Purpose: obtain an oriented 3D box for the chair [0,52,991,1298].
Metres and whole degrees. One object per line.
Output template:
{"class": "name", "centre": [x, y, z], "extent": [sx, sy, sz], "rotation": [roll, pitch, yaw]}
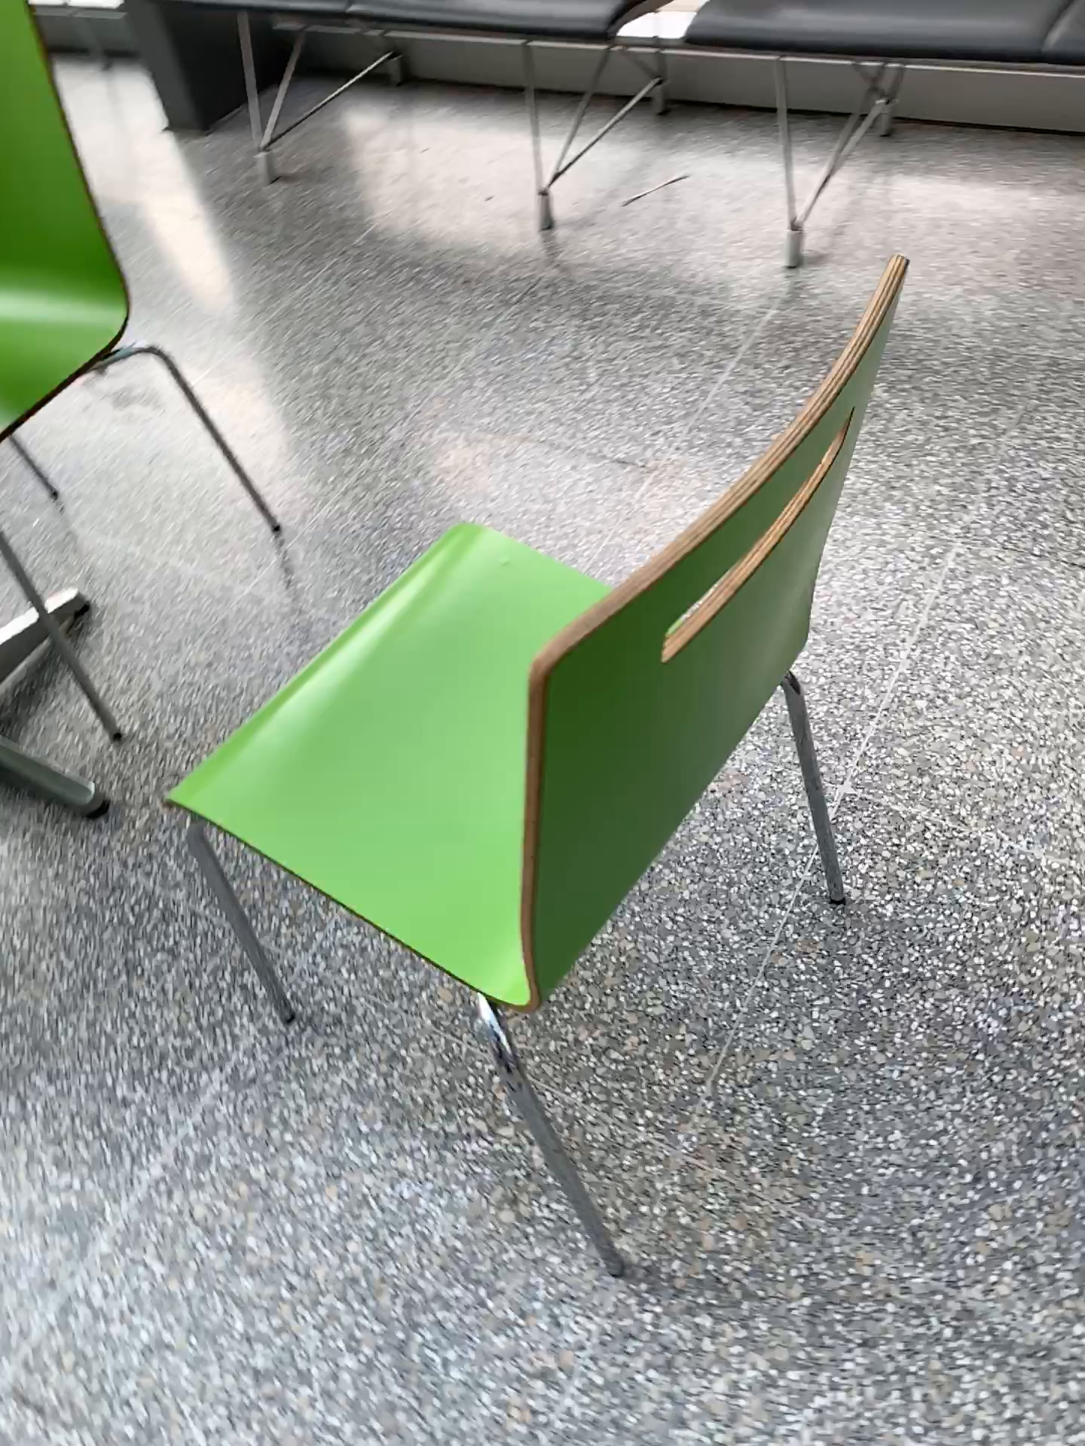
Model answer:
{"class": "chair", "centre": [-0.043, -0.003, 0.972], "extent": [0.532, 0.833, 0.543], "rotation": [25, 59, 27]}
